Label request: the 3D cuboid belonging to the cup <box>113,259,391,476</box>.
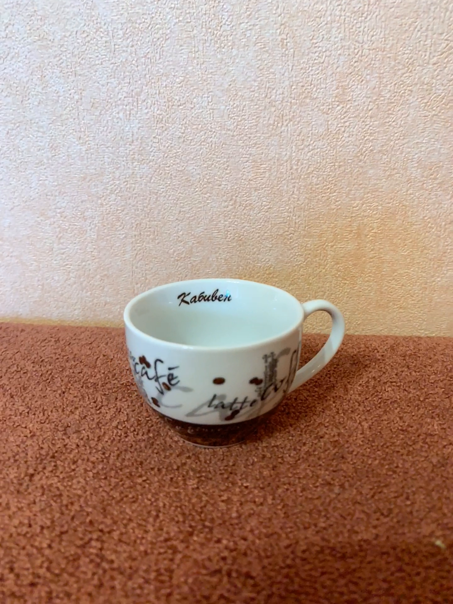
[{"bbox_3d":[0.004,0.017,0.176,0.083,0.040,0.065,-8,23,-15],"label":"cup"}]
